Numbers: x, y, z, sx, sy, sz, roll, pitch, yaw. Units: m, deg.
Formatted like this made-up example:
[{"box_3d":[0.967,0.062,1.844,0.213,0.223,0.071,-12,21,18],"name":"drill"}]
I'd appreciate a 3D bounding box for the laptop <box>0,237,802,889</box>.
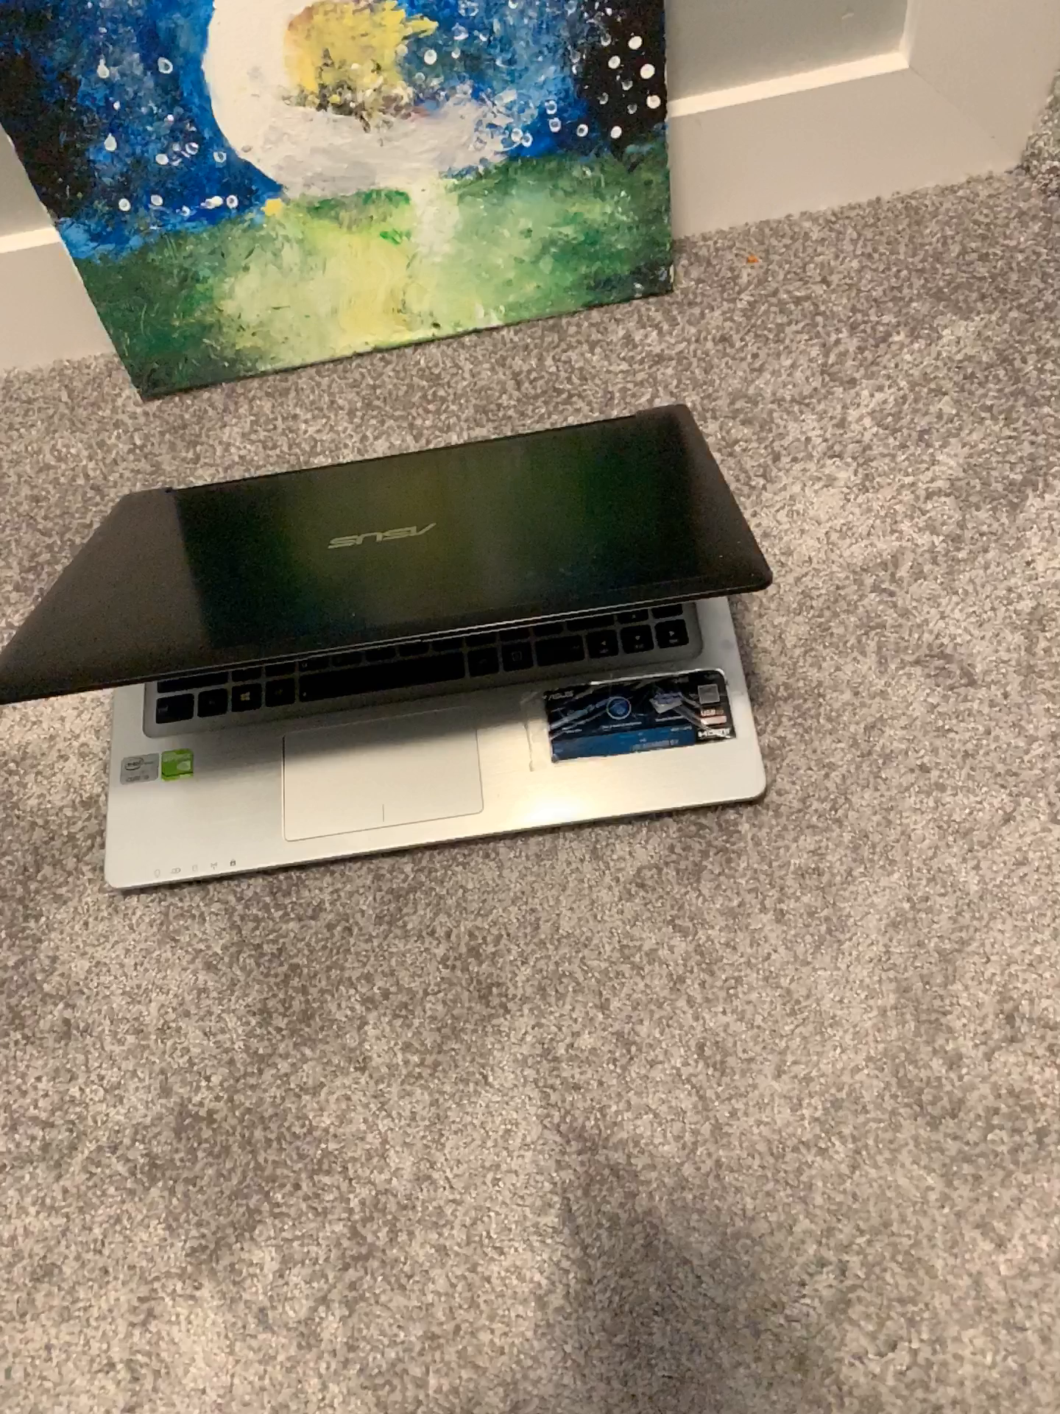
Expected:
[{"box_3d":[-0.073,-0.070,0.562,0.354,0.134,0.253,-9,65,3],"name":"laptop"}]
